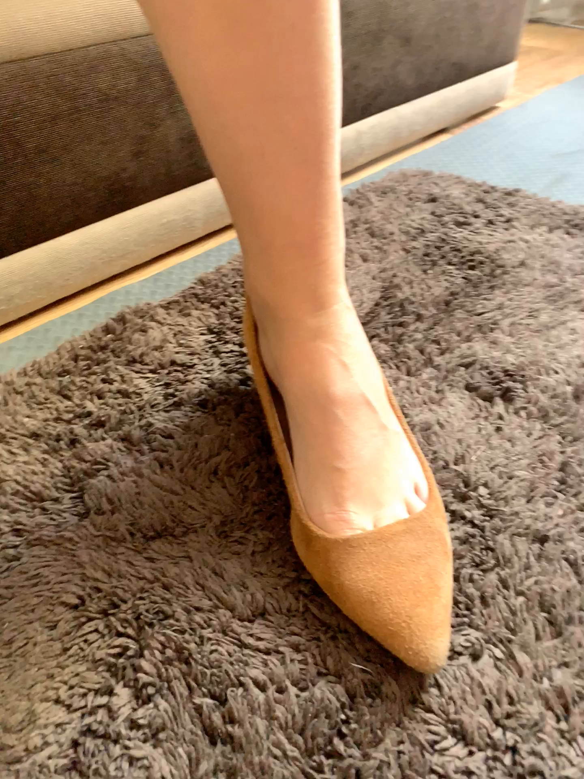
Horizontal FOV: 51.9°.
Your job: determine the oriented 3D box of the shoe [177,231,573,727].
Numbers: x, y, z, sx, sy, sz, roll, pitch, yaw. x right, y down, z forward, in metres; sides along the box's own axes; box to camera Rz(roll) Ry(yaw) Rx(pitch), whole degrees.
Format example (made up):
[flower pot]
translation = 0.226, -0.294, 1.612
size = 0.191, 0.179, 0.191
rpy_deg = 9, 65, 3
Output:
[shoe]
translation = 0.013, 0.015, 0.310
size = 0.090, 0.080, 0.251
rpy_deg = -13, 42, -14
